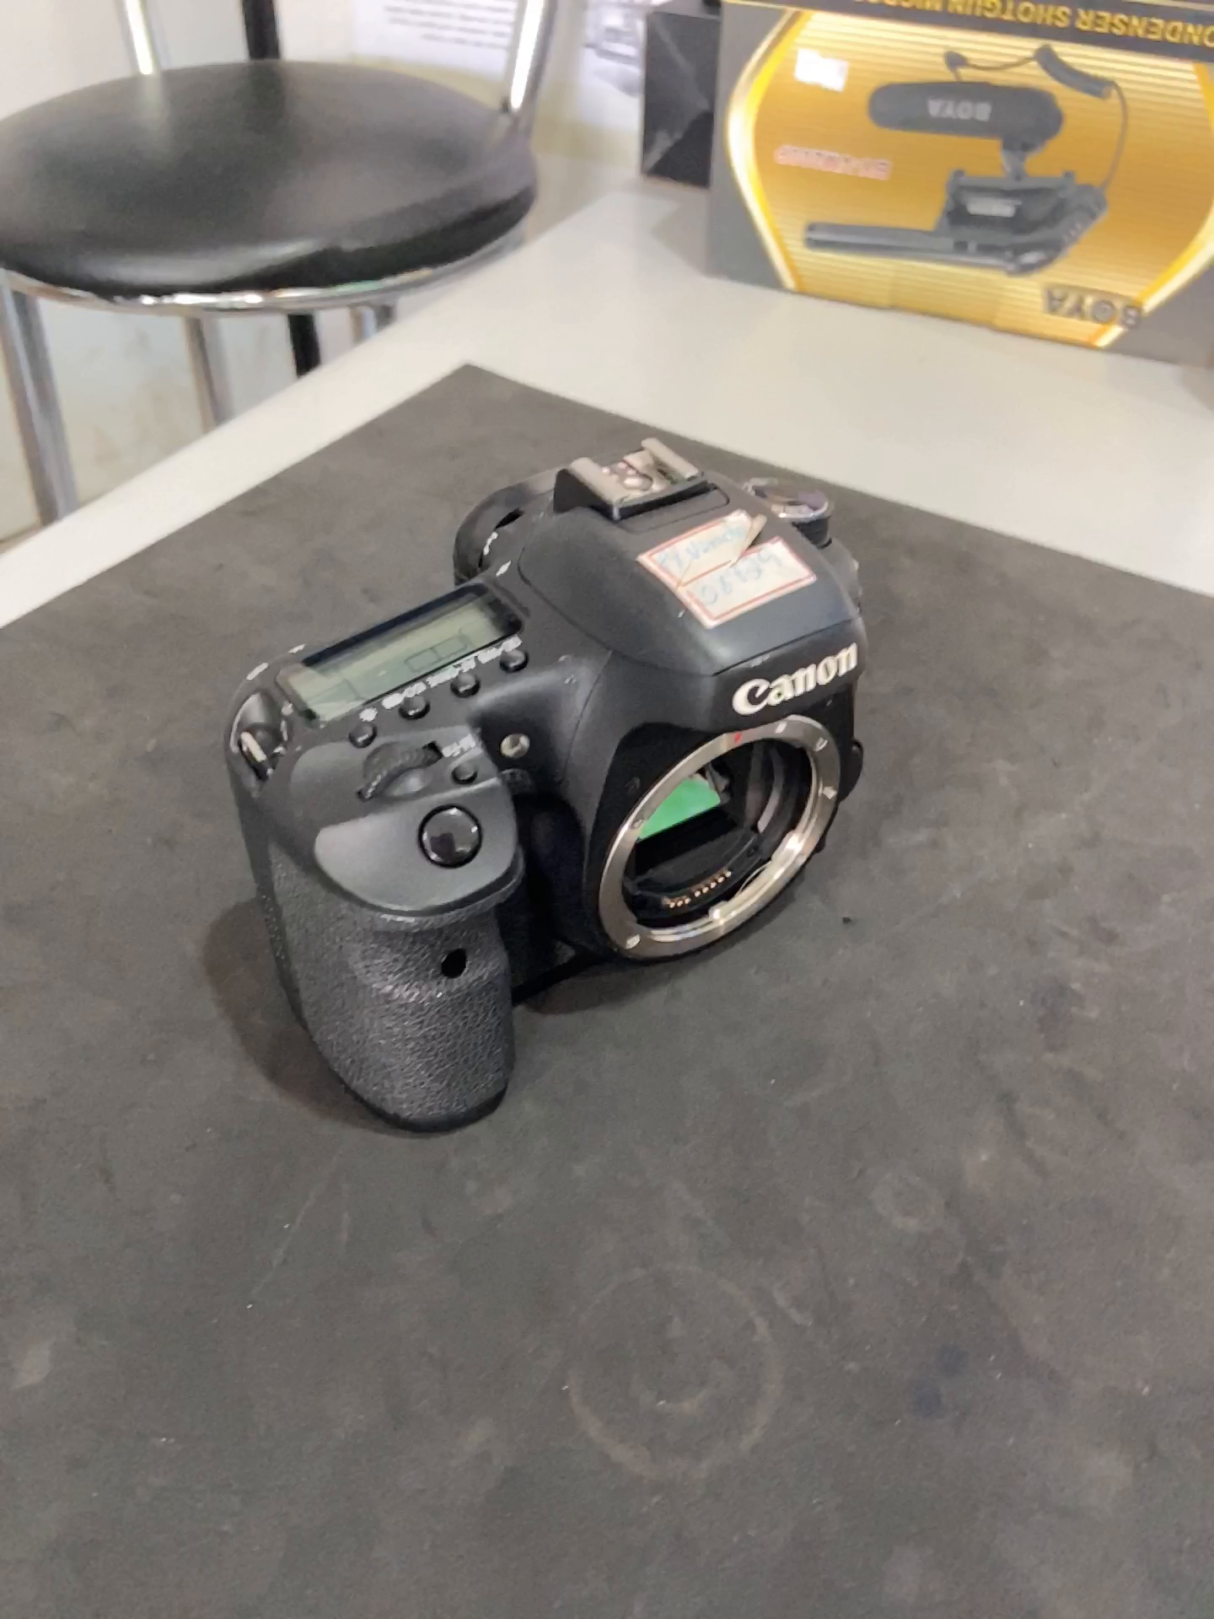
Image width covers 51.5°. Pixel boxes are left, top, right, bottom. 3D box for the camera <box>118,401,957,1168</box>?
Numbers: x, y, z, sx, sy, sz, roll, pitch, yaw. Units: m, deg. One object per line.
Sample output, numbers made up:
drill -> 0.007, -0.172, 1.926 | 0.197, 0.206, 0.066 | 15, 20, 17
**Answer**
camera -> -0.012, -0.013, 0.292 | 0.152, 0.101, 0.083 | -25, 48, -26
